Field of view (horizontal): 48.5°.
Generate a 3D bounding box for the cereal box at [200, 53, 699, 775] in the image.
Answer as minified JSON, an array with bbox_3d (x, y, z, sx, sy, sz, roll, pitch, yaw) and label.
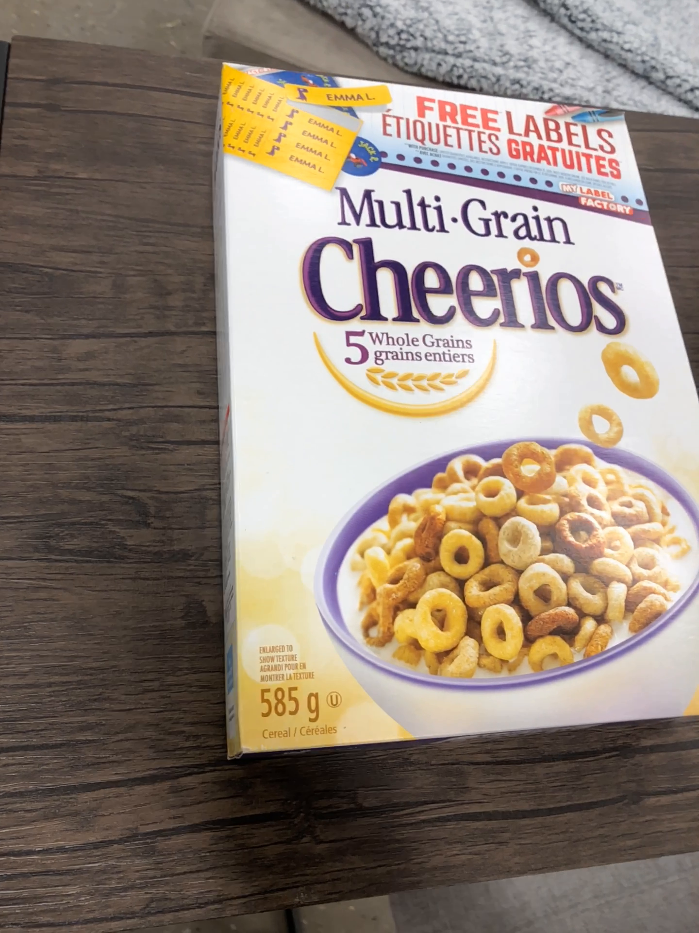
[{"bbox_3d":[0.055,-0.039,0.391,0.250,0.070,0.340,1,67,-13],"label":"cereal box"}]
